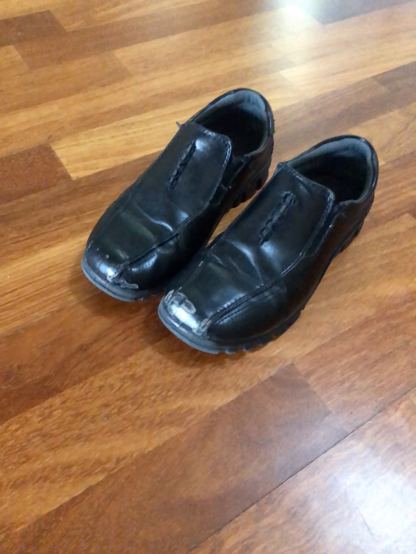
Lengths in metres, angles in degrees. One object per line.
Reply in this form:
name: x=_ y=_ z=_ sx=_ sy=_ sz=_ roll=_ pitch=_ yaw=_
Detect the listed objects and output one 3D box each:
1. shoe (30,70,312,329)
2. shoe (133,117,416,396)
shoe: x=-0.019 y=-0.078 z=0.393 sx=0.094 sy=0.075 sz=0.233 roll=34 pitch=58 yaw=18
shoe: x=0.060 y=-0.029 z=0.368 sx=0.091 sy=0.075 sz=0.233 roll=39 pitch=60 yaw=21
